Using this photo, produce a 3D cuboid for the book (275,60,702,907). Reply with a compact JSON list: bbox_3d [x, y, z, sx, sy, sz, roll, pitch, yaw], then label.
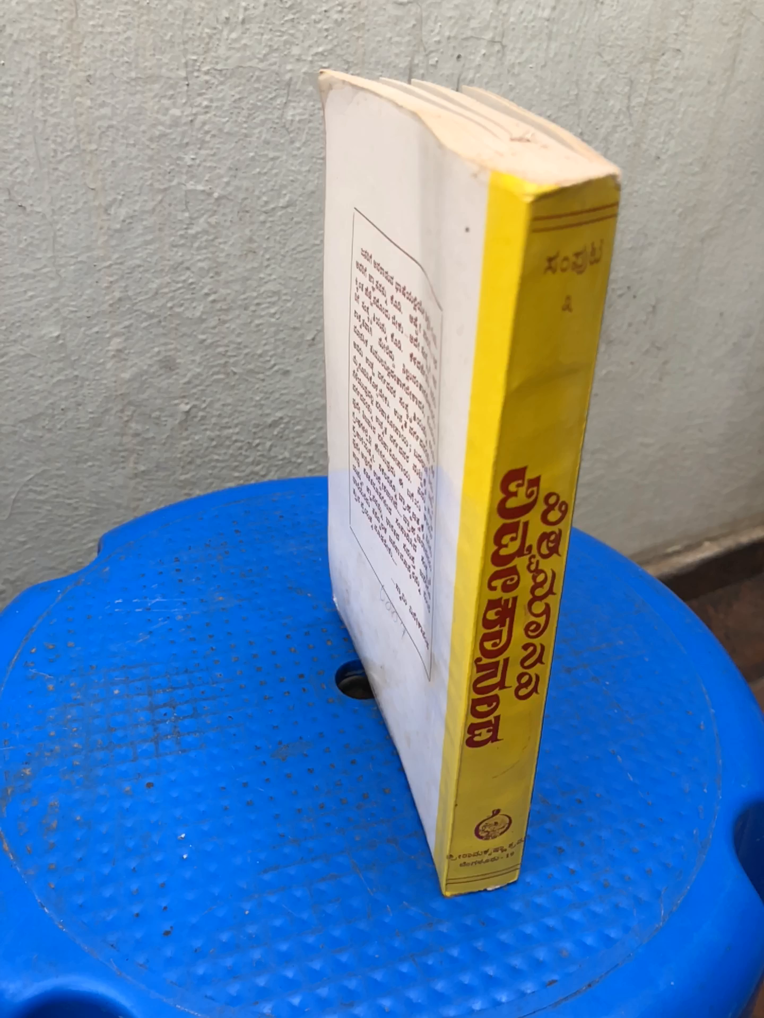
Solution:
[{"bbox_3d":[0.009,-0.023,0.274,0.050,0.199,0.191,-7,34,-11],"label":"book"}]
